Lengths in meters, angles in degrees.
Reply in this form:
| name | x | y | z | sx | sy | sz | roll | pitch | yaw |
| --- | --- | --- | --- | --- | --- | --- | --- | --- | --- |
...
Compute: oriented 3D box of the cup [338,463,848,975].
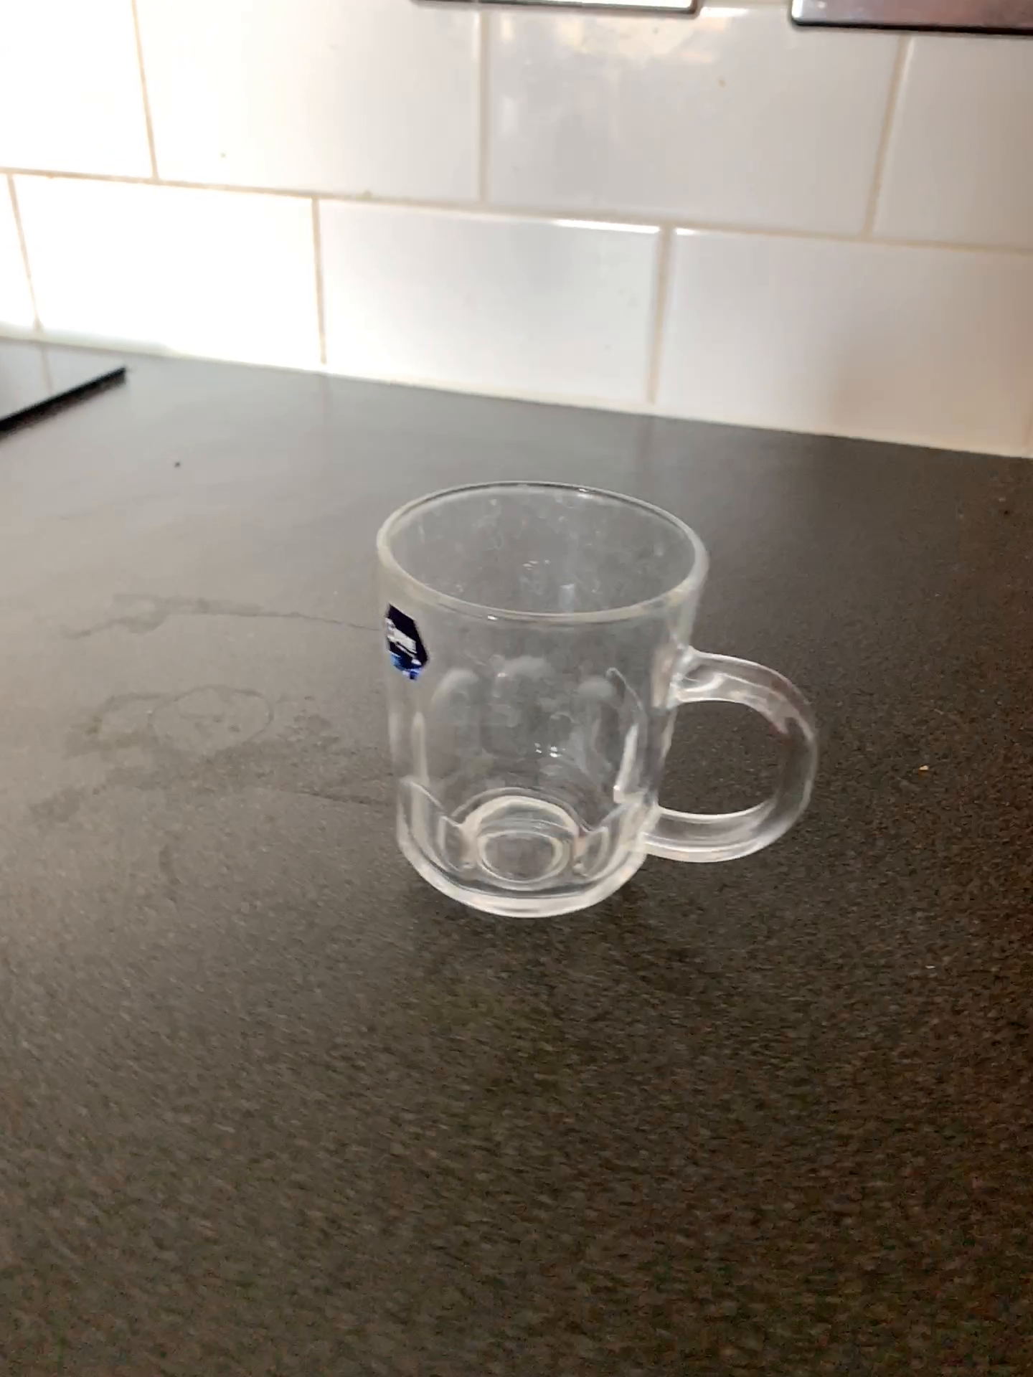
| name | x | y | z | sx | sy | sz | roll | pitch | yaw |
| --- | --- | --- | --- | --- | --- | --- | --- | --- | --- |
| cup | 0.017 | 0.004 | 0.262 | 0.100 | 0.090 | 0.071 | 6 | 31 | 7 |
